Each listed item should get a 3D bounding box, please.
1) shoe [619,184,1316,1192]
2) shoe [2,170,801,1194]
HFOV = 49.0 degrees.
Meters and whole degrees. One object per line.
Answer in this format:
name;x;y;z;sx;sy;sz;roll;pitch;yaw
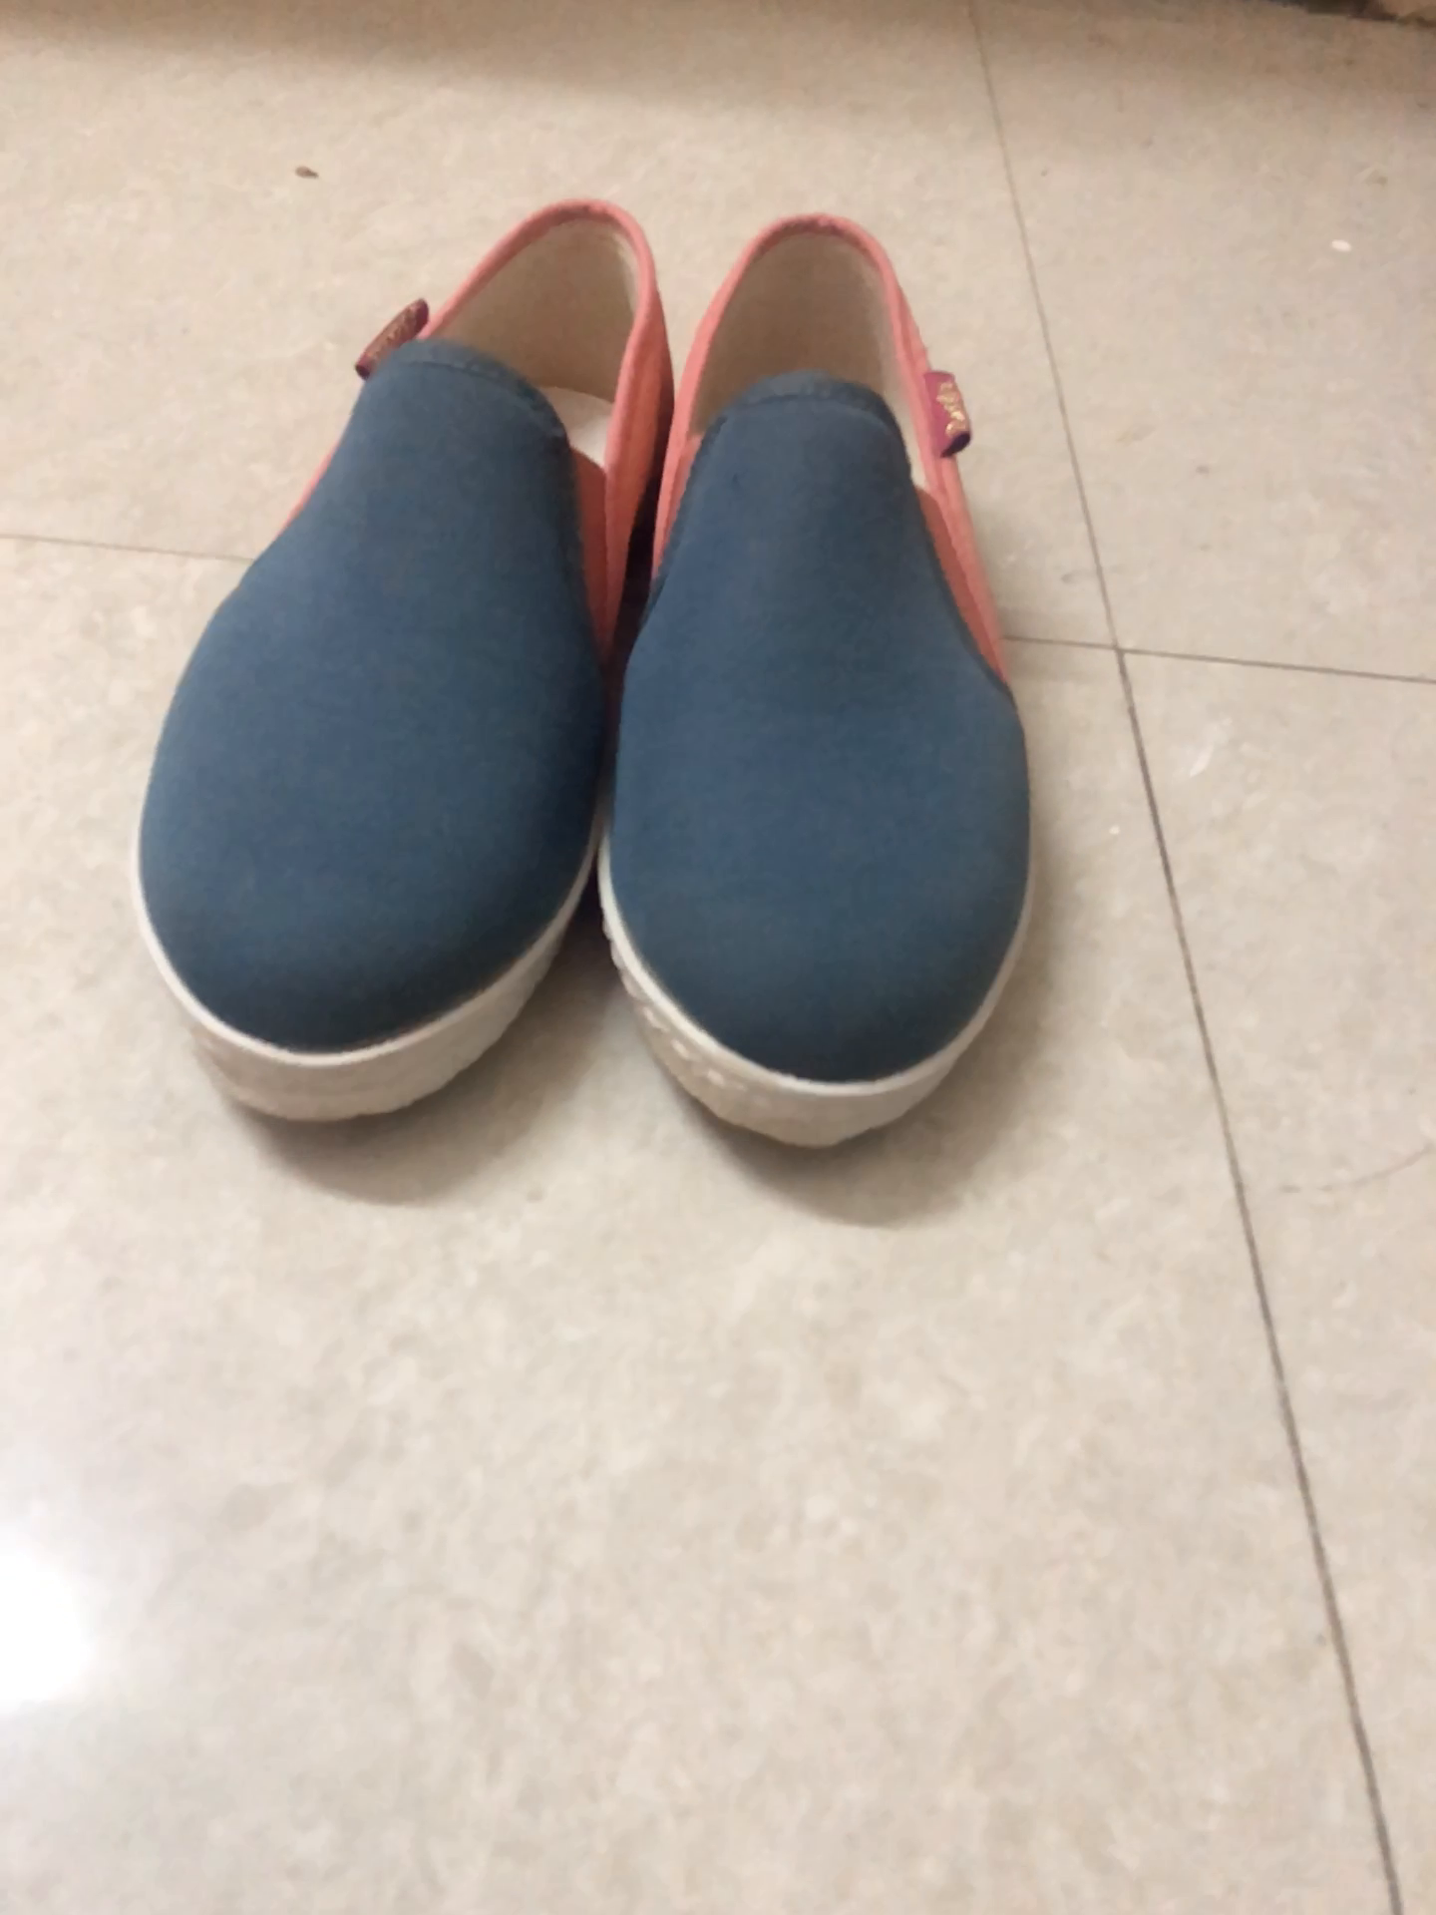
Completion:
shoe;0.032;-0.067;0.303;0.090;0.060;0.221;4;48;-5
shoe;-0.041;-0.070;0.303;0.090;0.060;0.221;9;48;0
